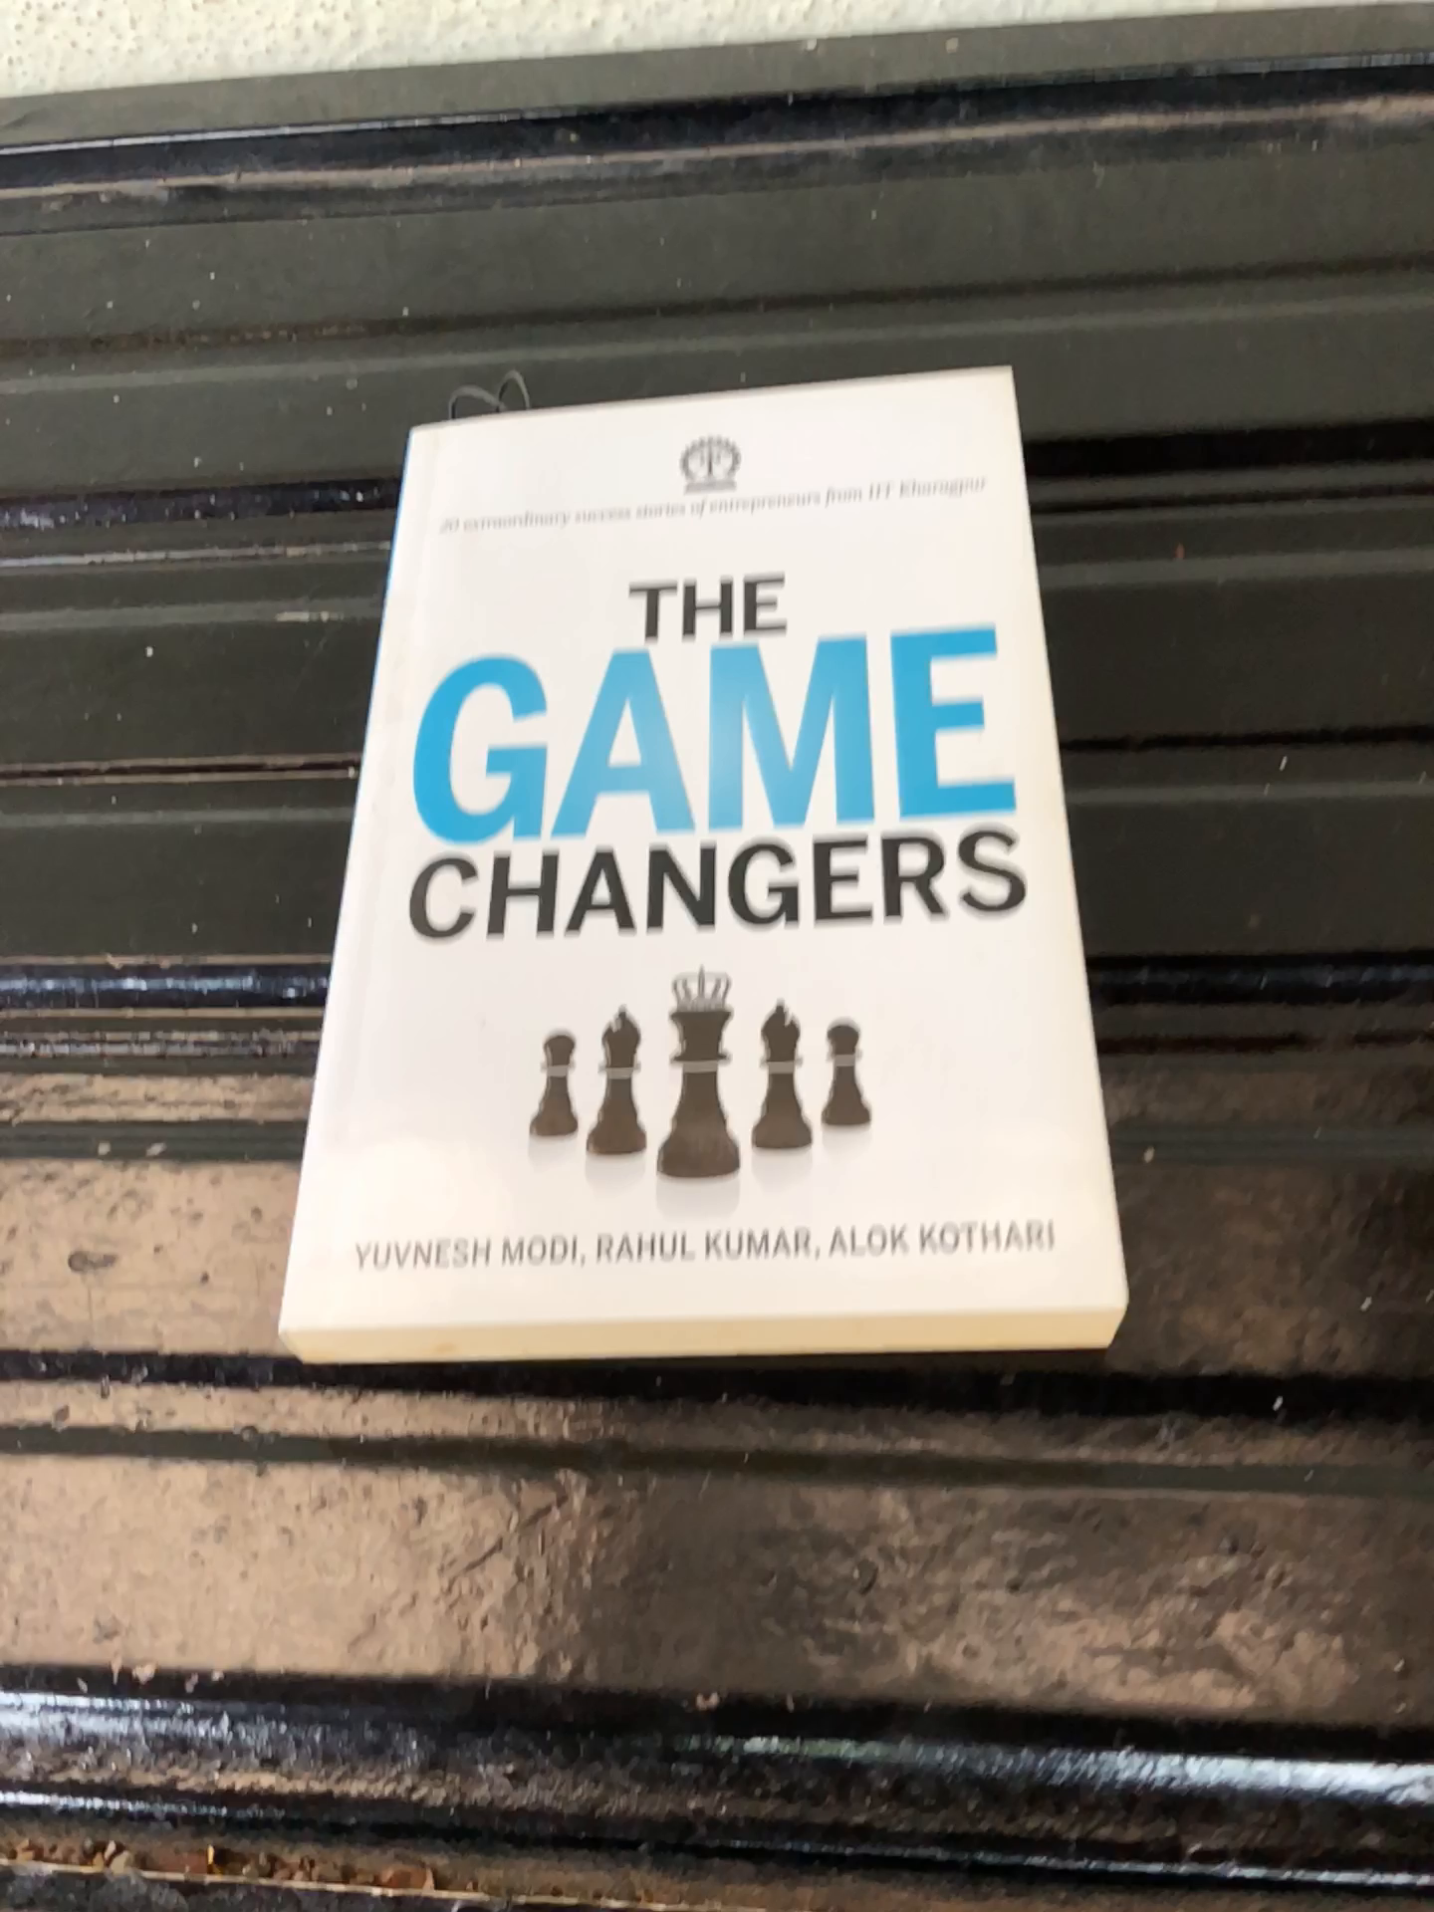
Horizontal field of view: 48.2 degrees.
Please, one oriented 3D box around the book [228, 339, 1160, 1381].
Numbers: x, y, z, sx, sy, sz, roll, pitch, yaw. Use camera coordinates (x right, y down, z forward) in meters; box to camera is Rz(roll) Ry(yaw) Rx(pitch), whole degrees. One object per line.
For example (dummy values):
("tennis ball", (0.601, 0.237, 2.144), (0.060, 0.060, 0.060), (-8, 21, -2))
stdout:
("book", (-0.003, -0.026, 0.281), (0.130, 0.030, 0.190), (-2, 61, 5))
